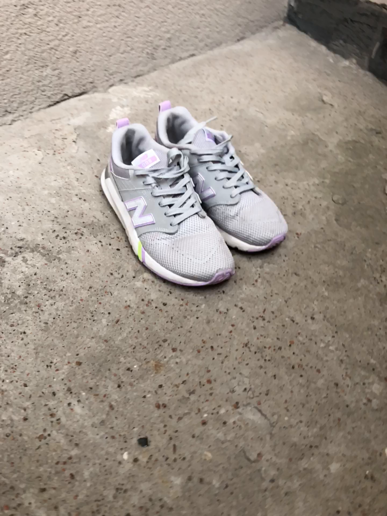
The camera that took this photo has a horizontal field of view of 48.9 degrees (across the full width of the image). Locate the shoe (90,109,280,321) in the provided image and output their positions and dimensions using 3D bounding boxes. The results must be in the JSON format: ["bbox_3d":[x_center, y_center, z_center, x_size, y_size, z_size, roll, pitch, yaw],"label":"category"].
[{"bbox_3d":[-0.026,-0.070,0.551,0.110,0.099,0.271,-21,55,-23],"label":"shoe"}]

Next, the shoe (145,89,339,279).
[{"bbox_3d":[0.049,-0.116,0.595,0.110,0.099,0.271,-24,56,-26],"label":"shoe"}]
